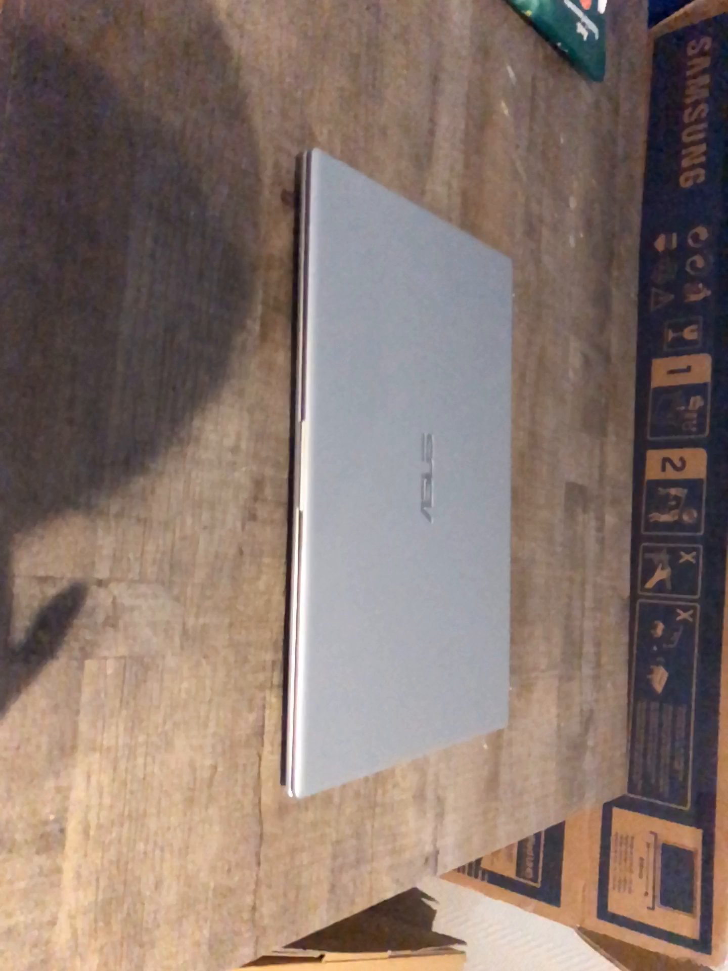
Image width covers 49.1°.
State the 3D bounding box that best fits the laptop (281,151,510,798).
[{"bbox_3d":[0.034,-0.003,0.528,0.229,0.013,0.353,4,86,-51],"label":"laptop"}]
